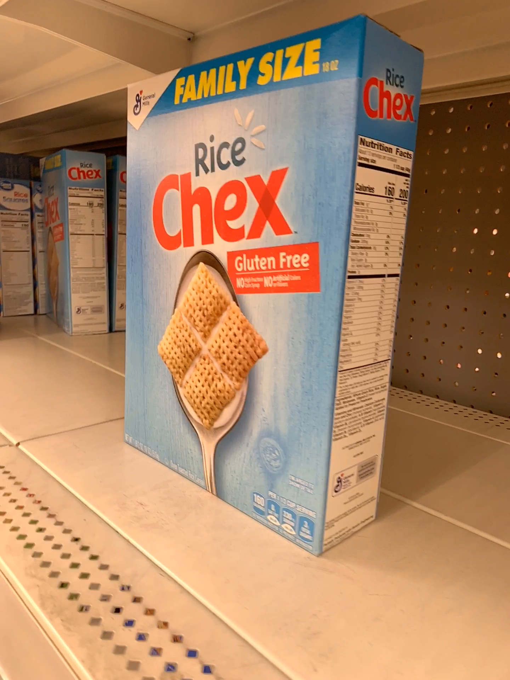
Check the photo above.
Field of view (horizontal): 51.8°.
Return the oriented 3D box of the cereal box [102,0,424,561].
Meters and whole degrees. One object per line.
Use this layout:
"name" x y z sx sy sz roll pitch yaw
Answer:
"cereal box" -0.019 -0.048 0.408 0.080 0.319 0.251 -8 15 -43
